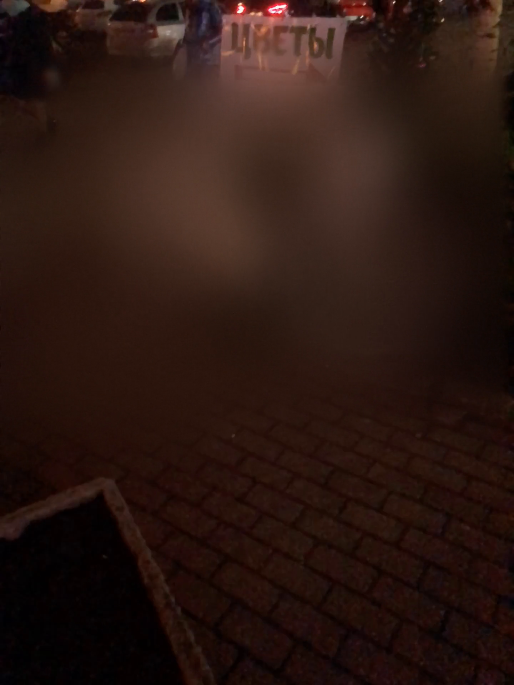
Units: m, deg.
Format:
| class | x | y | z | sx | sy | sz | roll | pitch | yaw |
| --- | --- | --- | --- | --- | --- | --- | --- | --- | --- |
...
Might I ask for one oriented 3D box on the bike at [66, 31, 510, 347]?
| class | x | y | z | sx | sy | sz | roll | pitch | yaw |
| --- | --- | --- | --- | --- | --- | --- | --- | --- | --- |
| bike | 0.050 | -0.774 | 2.705 | 1.831 | 1.118 | 0.608 | 14 | 36 | 28 |
